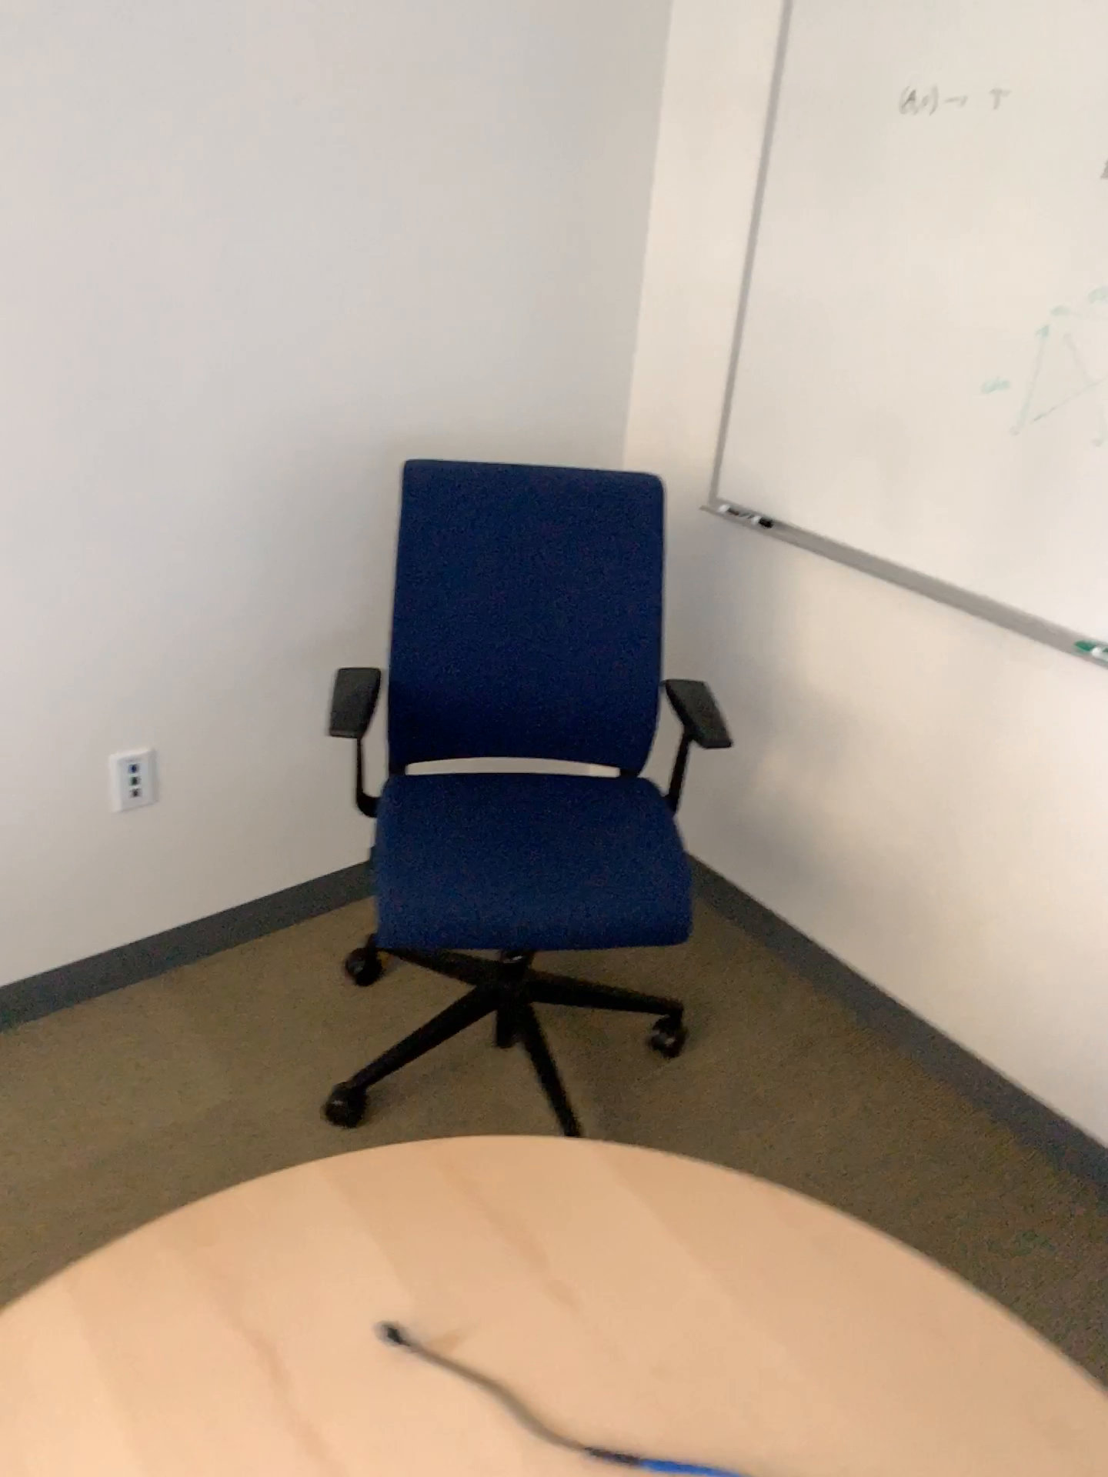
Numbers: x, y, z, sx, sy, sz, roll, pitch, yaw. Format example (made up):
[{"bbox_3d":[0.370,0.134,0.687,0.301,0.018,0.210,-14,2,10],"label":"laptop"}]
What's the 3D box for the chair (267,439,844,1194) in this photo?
[{"bbox_3d":[-0.043,0.084,2.104,0.740,0.994,0.986,3,28,-3],"label":"chair"}]
